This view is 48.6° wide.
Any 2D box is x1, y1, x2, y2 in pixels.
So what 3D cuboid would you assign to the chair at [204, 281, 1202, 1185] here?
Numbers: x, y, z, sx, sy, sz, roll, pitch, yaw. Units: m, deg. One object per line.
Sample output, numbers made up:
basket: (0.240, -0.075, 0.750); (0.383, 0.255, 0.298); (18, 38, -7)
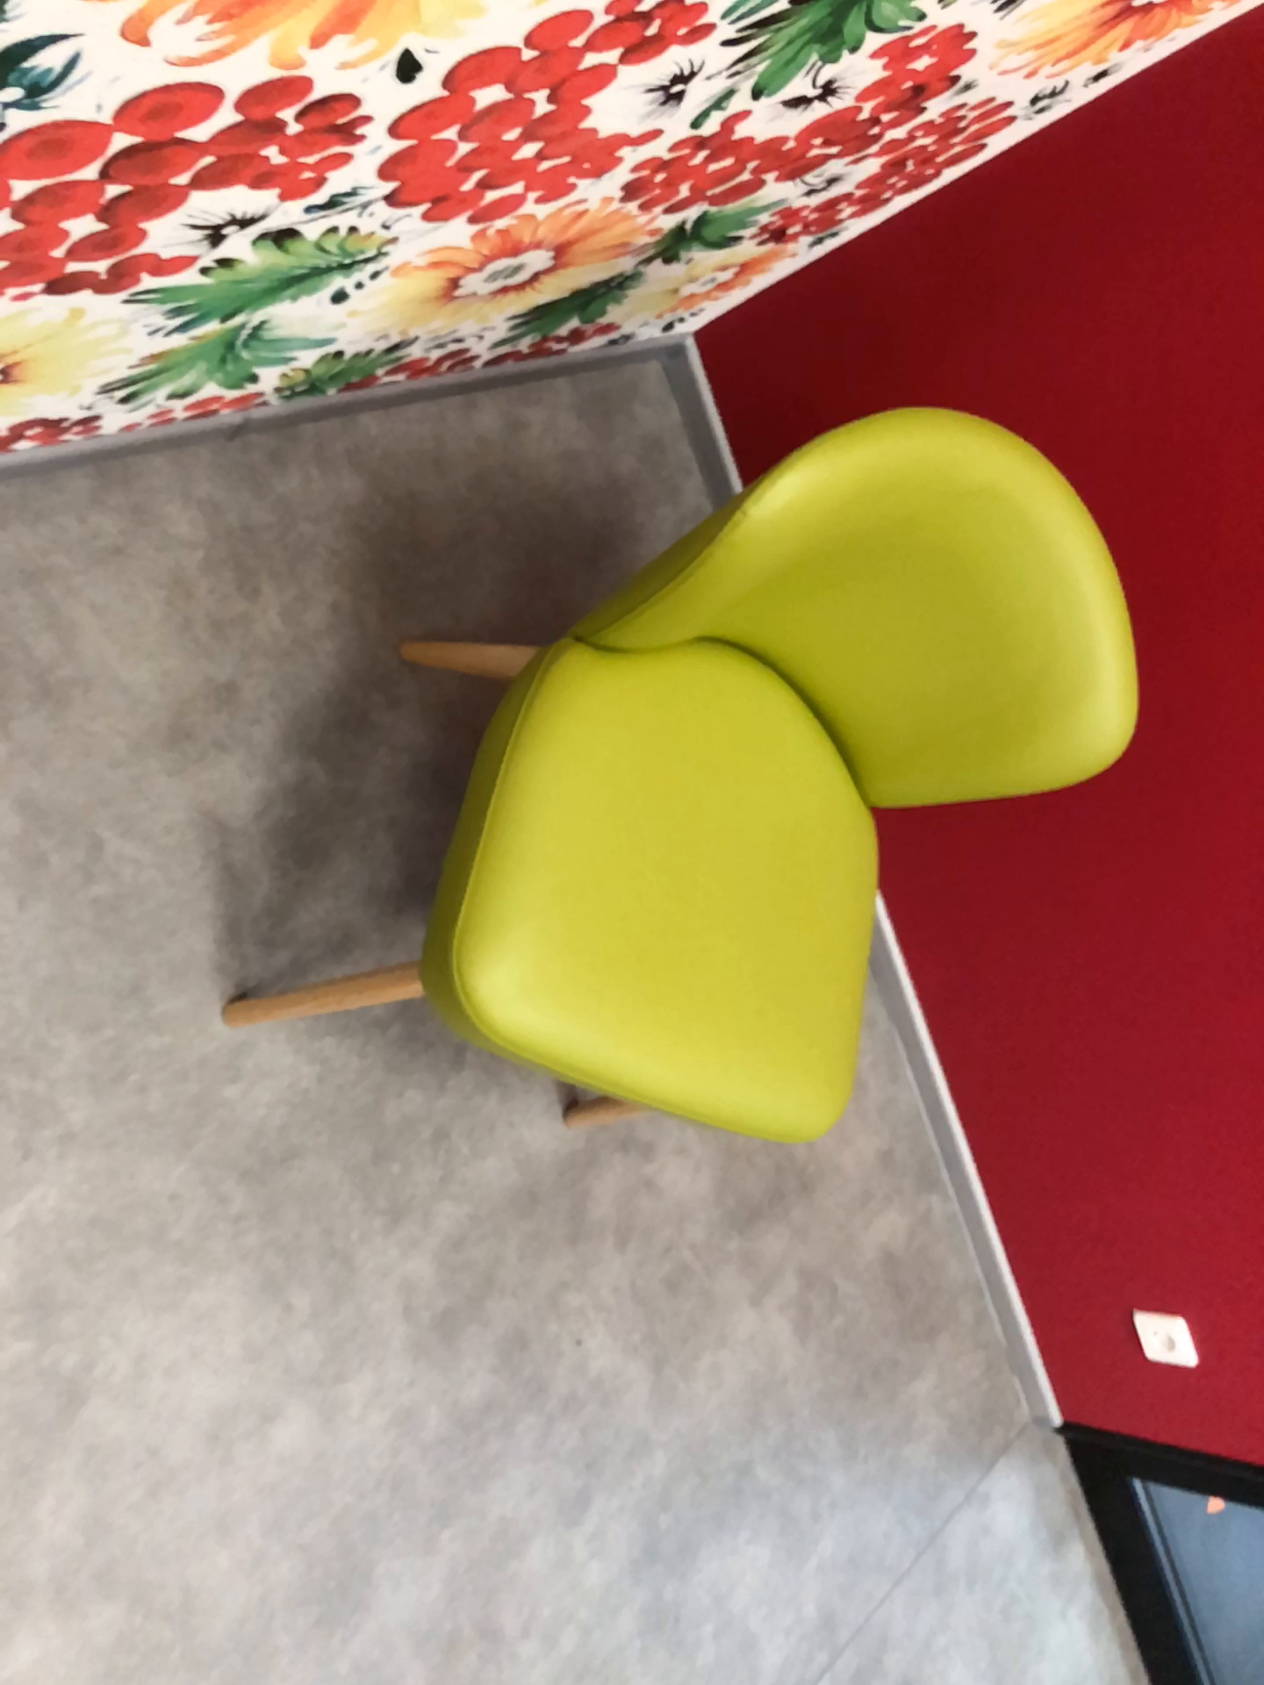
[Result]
chair: (0.054, -0.025, 1.415); (0.522, 0.776, 0.571); (27, 67, -35)
